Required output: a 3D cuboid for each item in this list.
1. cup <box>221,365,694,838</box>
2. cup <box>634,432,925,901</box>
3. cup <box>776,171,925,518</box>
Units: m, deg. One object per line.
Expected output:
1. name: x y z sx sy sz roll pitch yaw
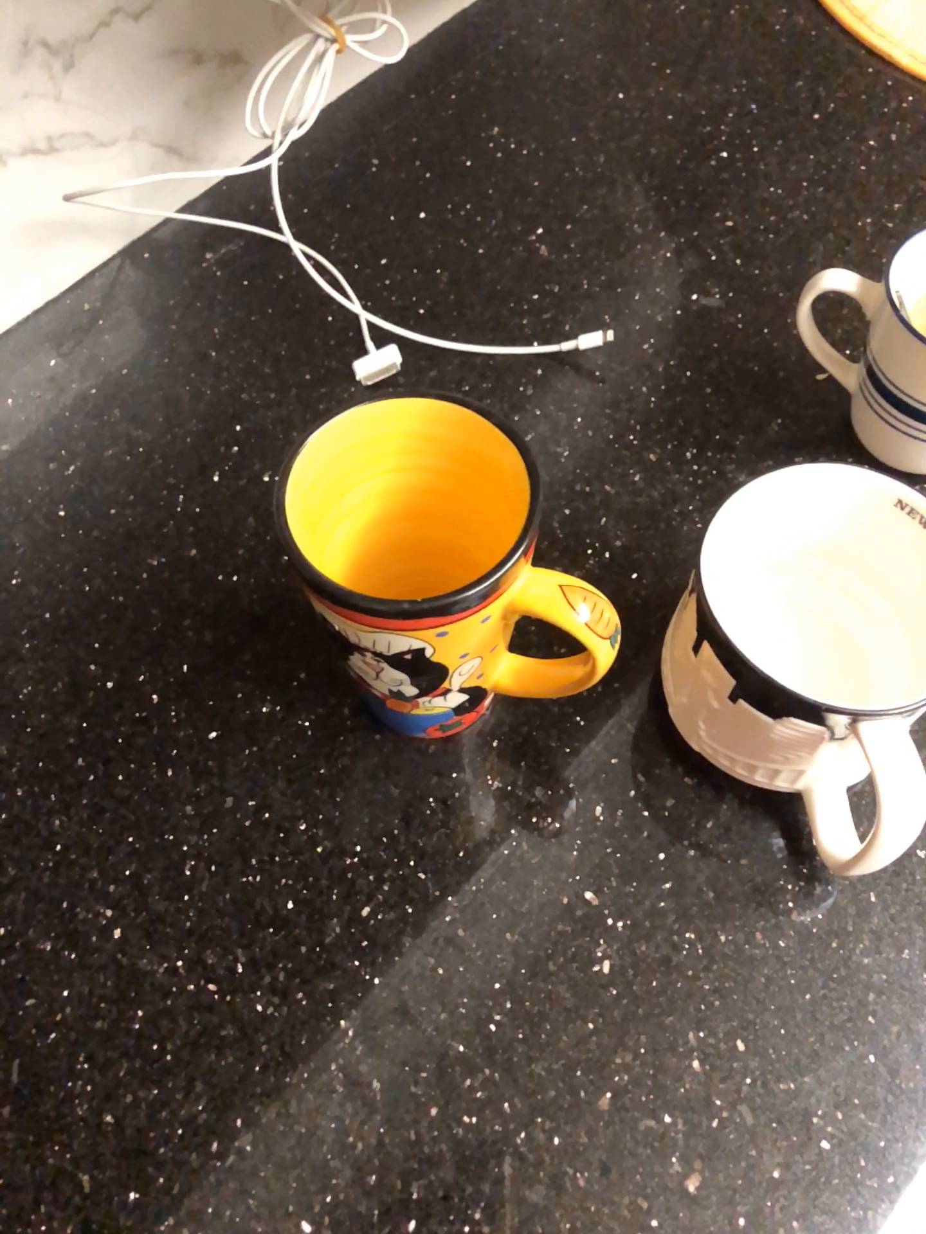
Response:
1. cup: 0.002 0.002 0.394 0.130 0.150 0.090 16 63 10
2. cup: 0.135 0.023 0.410 0.100 0.110 0.150 -3 62 0
3. cup: 0.211 -0.126 0.485 0.090 0.110 0.100 10 62 7
